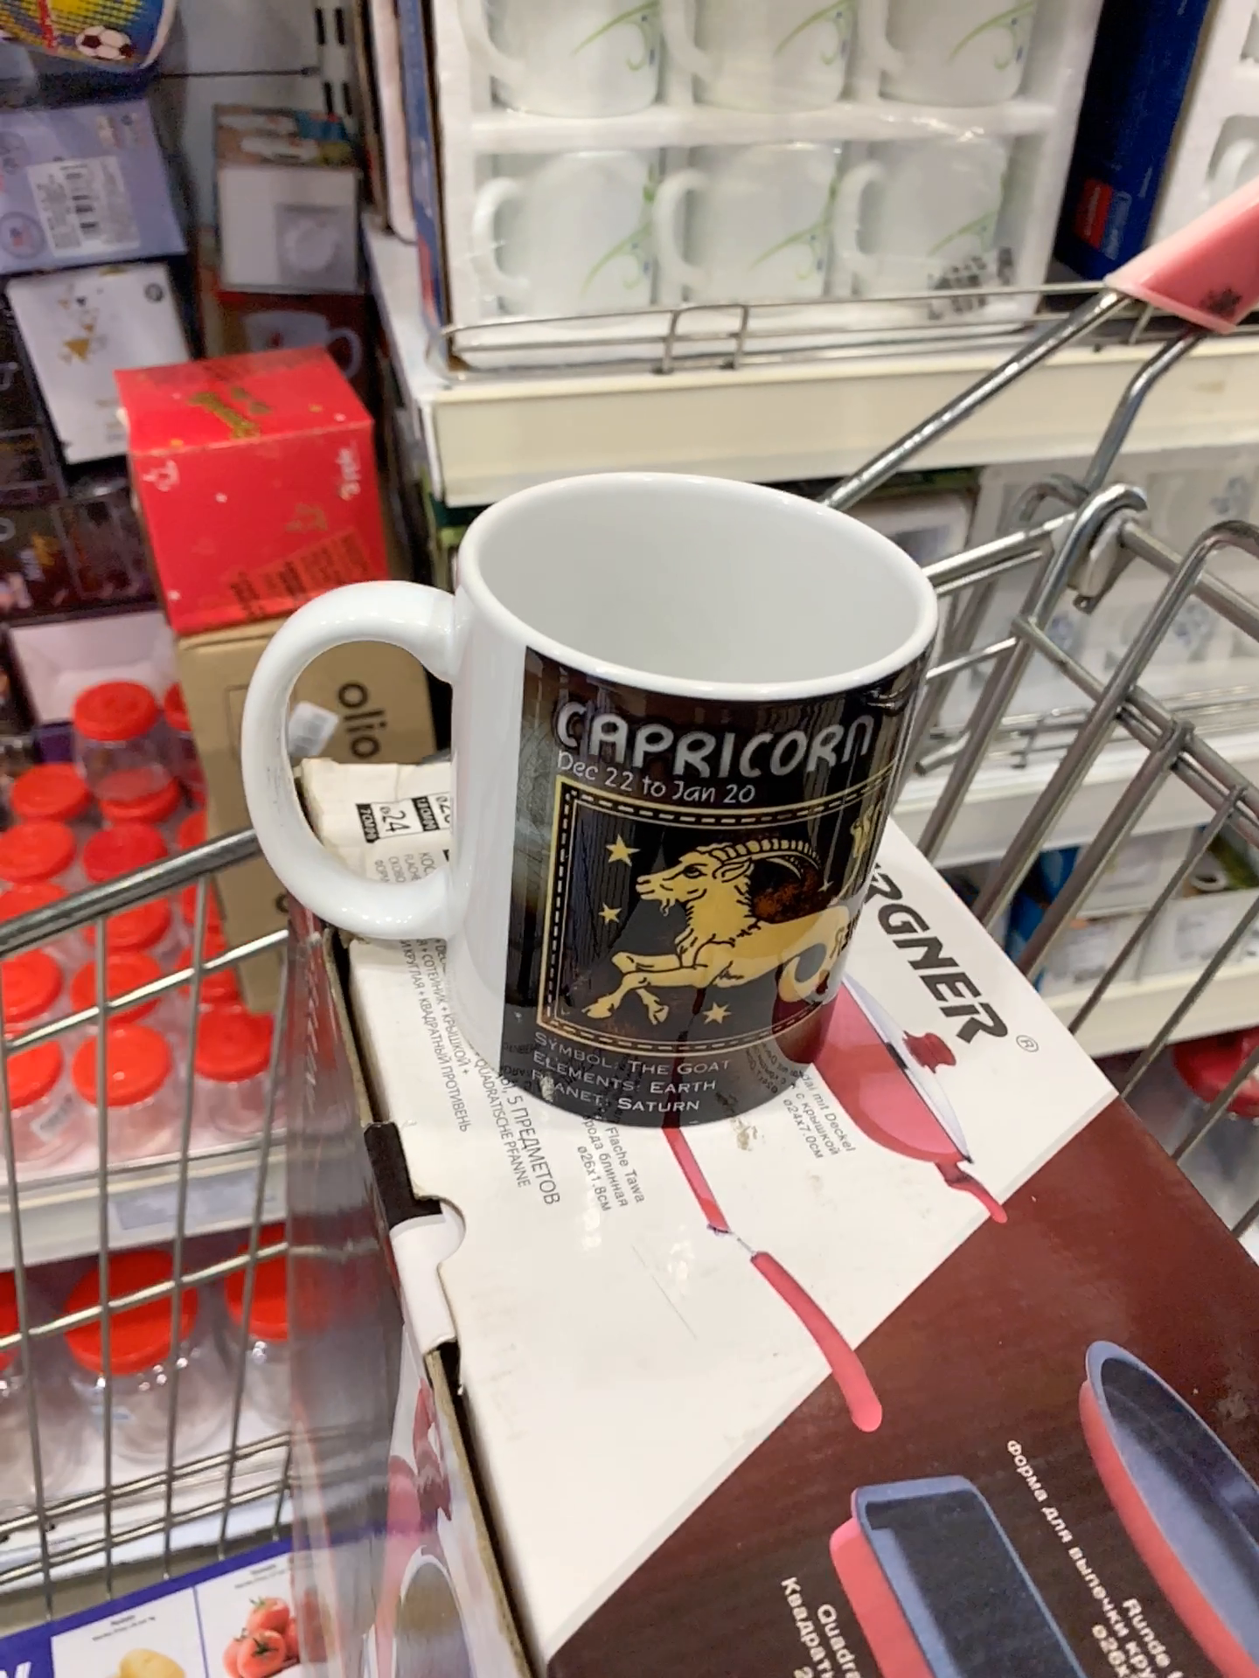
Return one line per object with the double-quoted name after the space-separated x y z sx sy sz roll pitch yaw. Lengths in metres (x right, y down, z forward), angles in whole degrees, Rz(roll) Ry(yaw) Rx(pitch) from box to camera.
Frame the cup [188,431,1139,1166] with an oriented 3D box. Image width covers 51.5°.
-0.001 -0.007 0.222 0.120 0.090 0.080 0 39 -8 "cup"
